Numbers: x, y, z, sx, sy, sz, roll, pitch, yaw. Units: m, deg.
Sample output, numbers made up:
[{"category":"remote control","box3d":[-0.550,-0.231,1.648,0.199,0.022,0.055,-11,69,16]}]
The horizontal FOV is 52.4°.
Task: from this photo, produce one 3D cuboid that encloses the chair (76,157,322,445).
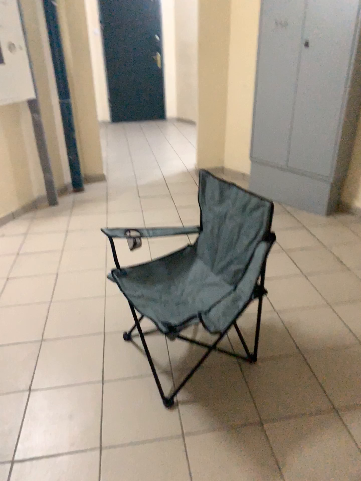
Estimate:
[{"category":"chair","box3d":[0.019,0.153,1.545,0.560,0.756,0.804,-18,32,-28]}]
